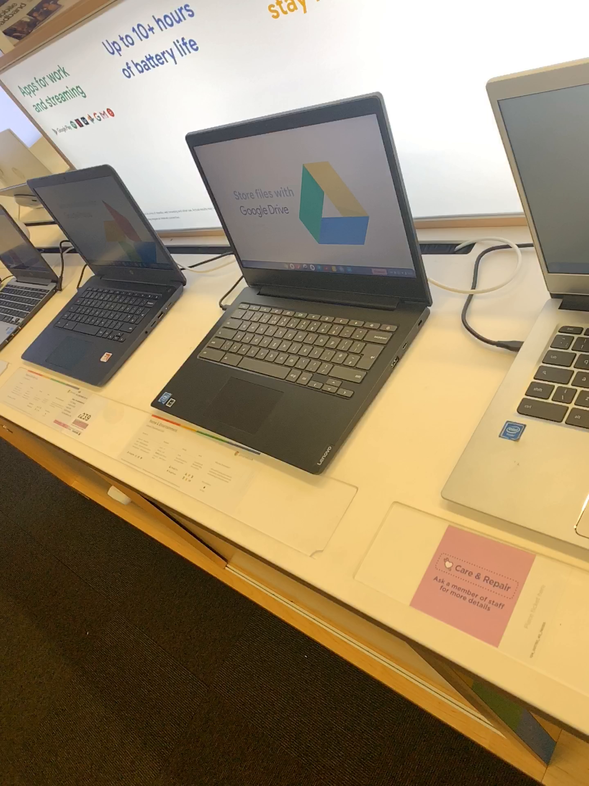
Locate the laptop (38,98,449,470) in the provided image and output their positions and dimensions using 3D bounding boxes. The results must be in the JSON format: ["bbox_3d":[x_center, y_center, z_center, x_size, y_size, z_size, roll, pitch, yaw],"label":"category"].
[{"bbox_3d":[-0.061,-0.127,0.680,0.317,0.201,0.281,16,63,46],"label":"laptop"}]
